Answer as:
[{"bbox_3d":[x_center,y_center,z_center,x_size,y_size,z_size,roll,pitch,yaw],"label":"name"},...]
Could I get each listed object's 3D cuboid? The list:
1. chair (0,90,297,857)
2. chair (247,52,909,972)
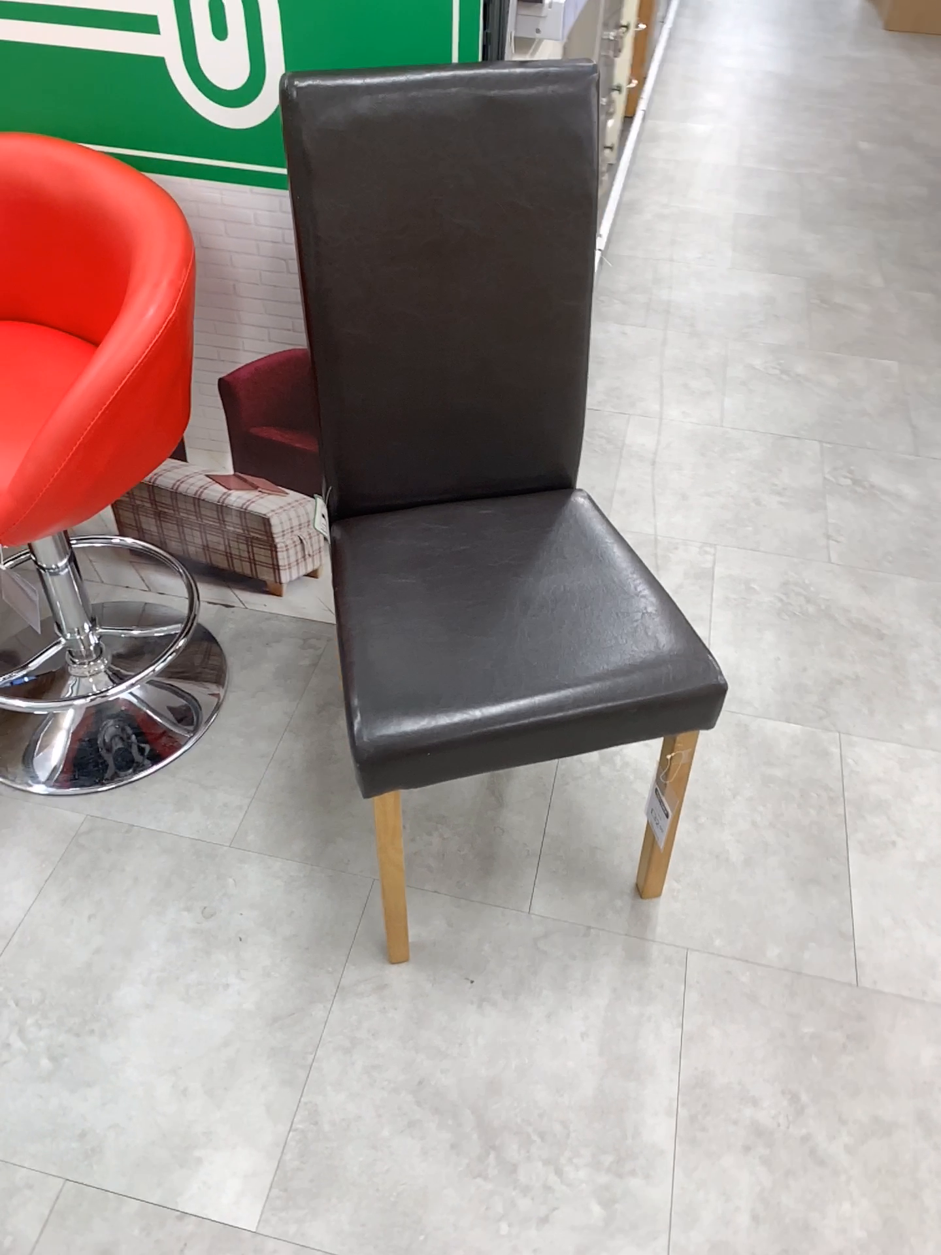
[{"bbox_3d":[-0.570,-0.179,1.242,0.426,0.774,0.459,21,47,18],"label":"chair"},{"bbox_3d":[0.031,-0.103,1.167,0.426,0.913,0.560,-10,45,-12],"label":"chair"}]
